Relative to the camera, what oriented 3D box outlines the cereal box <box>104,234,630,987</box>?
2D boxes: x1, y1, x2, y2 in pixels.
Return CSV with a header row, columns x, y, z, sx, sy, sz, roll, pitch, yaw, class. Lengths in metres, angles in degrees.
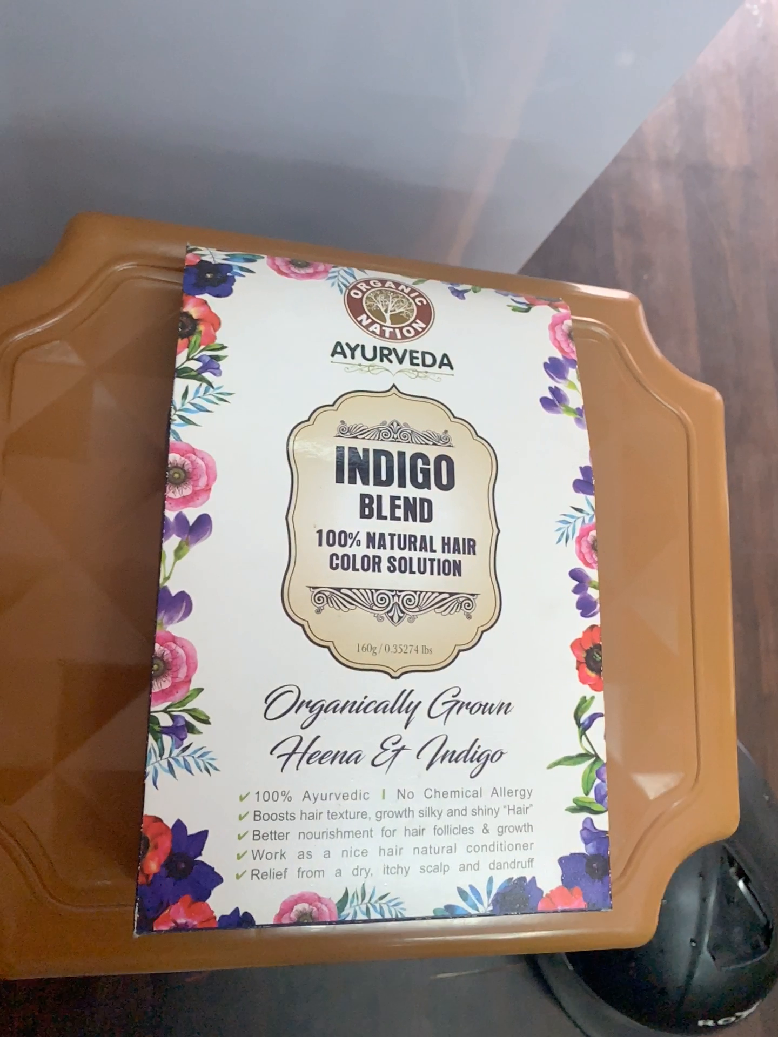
x,y,z,sx,sy,sz,roll,pitch,yaw,class
-0.007,0.026,0.263,0.140,0.070,0.200,4,78,-13,cereal box
